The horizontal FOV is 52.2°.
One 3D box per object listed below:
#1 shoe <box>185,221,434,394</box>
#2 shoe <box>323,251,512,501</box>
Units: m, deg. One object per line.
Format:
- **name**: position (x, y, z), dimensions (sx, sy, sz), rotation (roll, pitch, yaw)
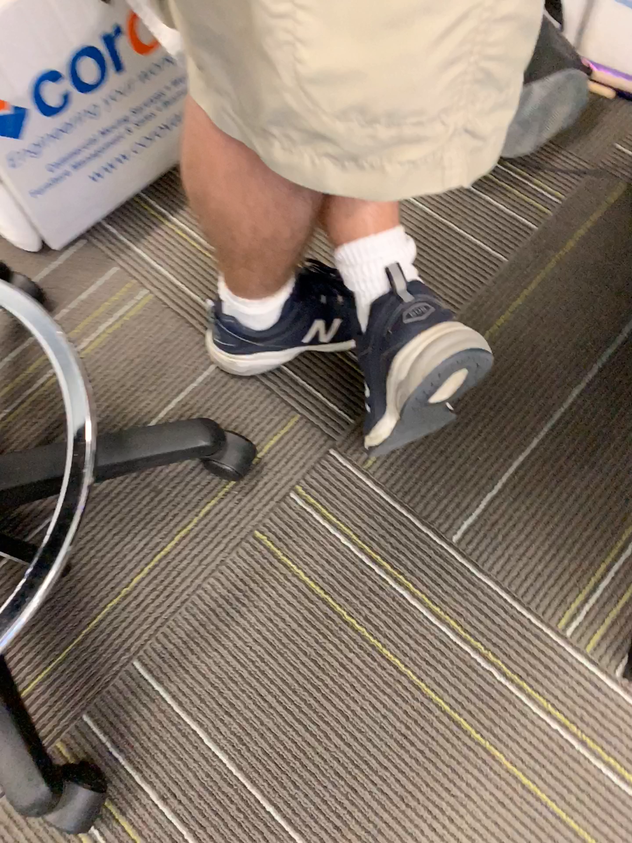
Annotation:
- **shoe**: position (-0.009, -0.152, 0.860), dimensions (0.296, 0.077, 0.121), rotation (-20, 67, -6)
- **shoe**: position (0.095, -0.030, 0.716), dimensions (0.122, 0.293, 0.129), rotation (-25, 70, -7)
